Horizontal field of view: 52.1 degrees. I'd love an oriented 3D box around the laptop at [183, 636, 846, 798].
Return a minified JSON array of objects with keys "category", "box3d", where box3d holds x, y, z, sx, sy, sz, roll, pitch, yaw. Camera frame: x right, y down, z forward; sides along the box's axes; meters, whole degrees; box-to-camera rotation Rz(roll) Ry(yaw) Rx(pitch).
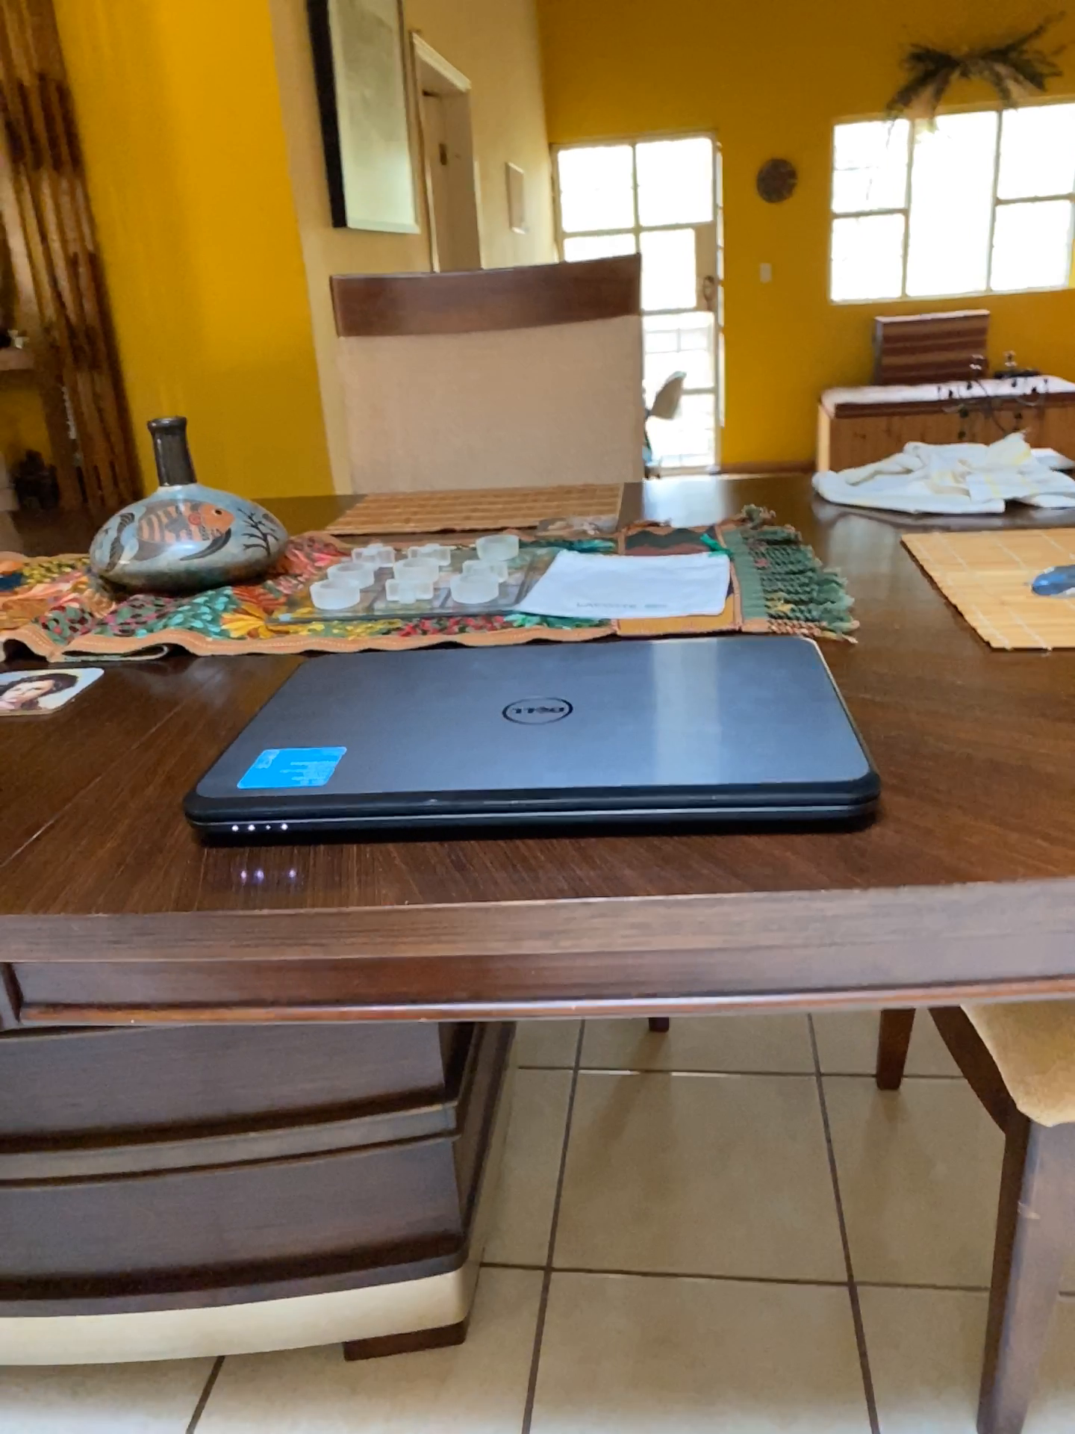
[{"category":"laptop","box3d":[-0.007,-0.007,0.696,0.352,0.001,0.249,-2,21,5]}]
